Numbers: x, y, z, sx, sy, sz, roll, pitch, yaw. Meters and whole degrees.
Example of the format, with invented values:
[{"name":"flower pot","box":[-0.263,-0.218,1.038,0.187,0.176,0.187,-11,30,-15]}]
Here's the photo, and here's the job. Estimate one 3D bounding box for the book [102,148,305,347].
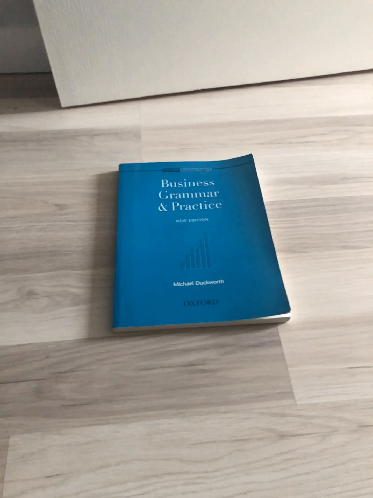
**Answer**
[{"name":"book","box":[0.010,-0.021,0.568,0.230,0.040,0.301,-3,54,-3]}]
